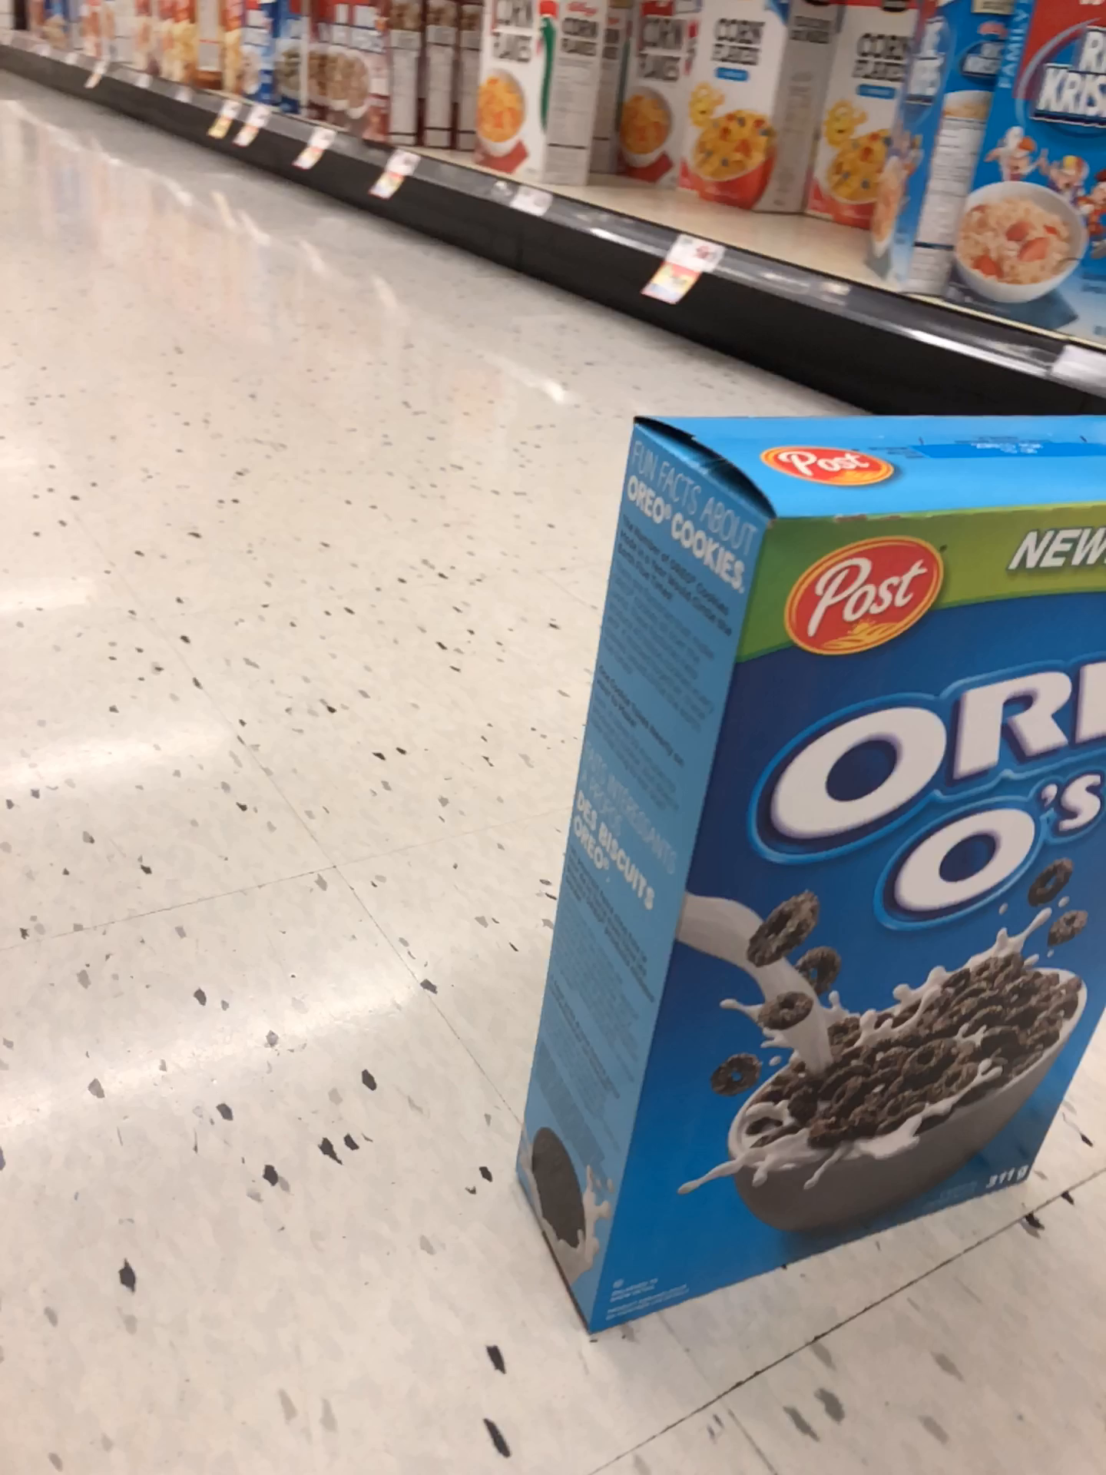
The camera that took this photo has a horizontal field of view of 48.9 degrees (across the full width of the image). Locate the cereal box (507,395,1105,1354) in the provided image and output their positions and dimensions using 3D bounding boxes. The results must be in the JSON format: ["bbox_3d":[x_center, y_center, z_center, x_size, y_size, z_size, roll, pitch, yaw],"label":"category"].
[{"bbox_3d":[0.103,0.042,0.364,0.200,0.268,0.060,-7,31,-24],"label":"cereal box"}]
